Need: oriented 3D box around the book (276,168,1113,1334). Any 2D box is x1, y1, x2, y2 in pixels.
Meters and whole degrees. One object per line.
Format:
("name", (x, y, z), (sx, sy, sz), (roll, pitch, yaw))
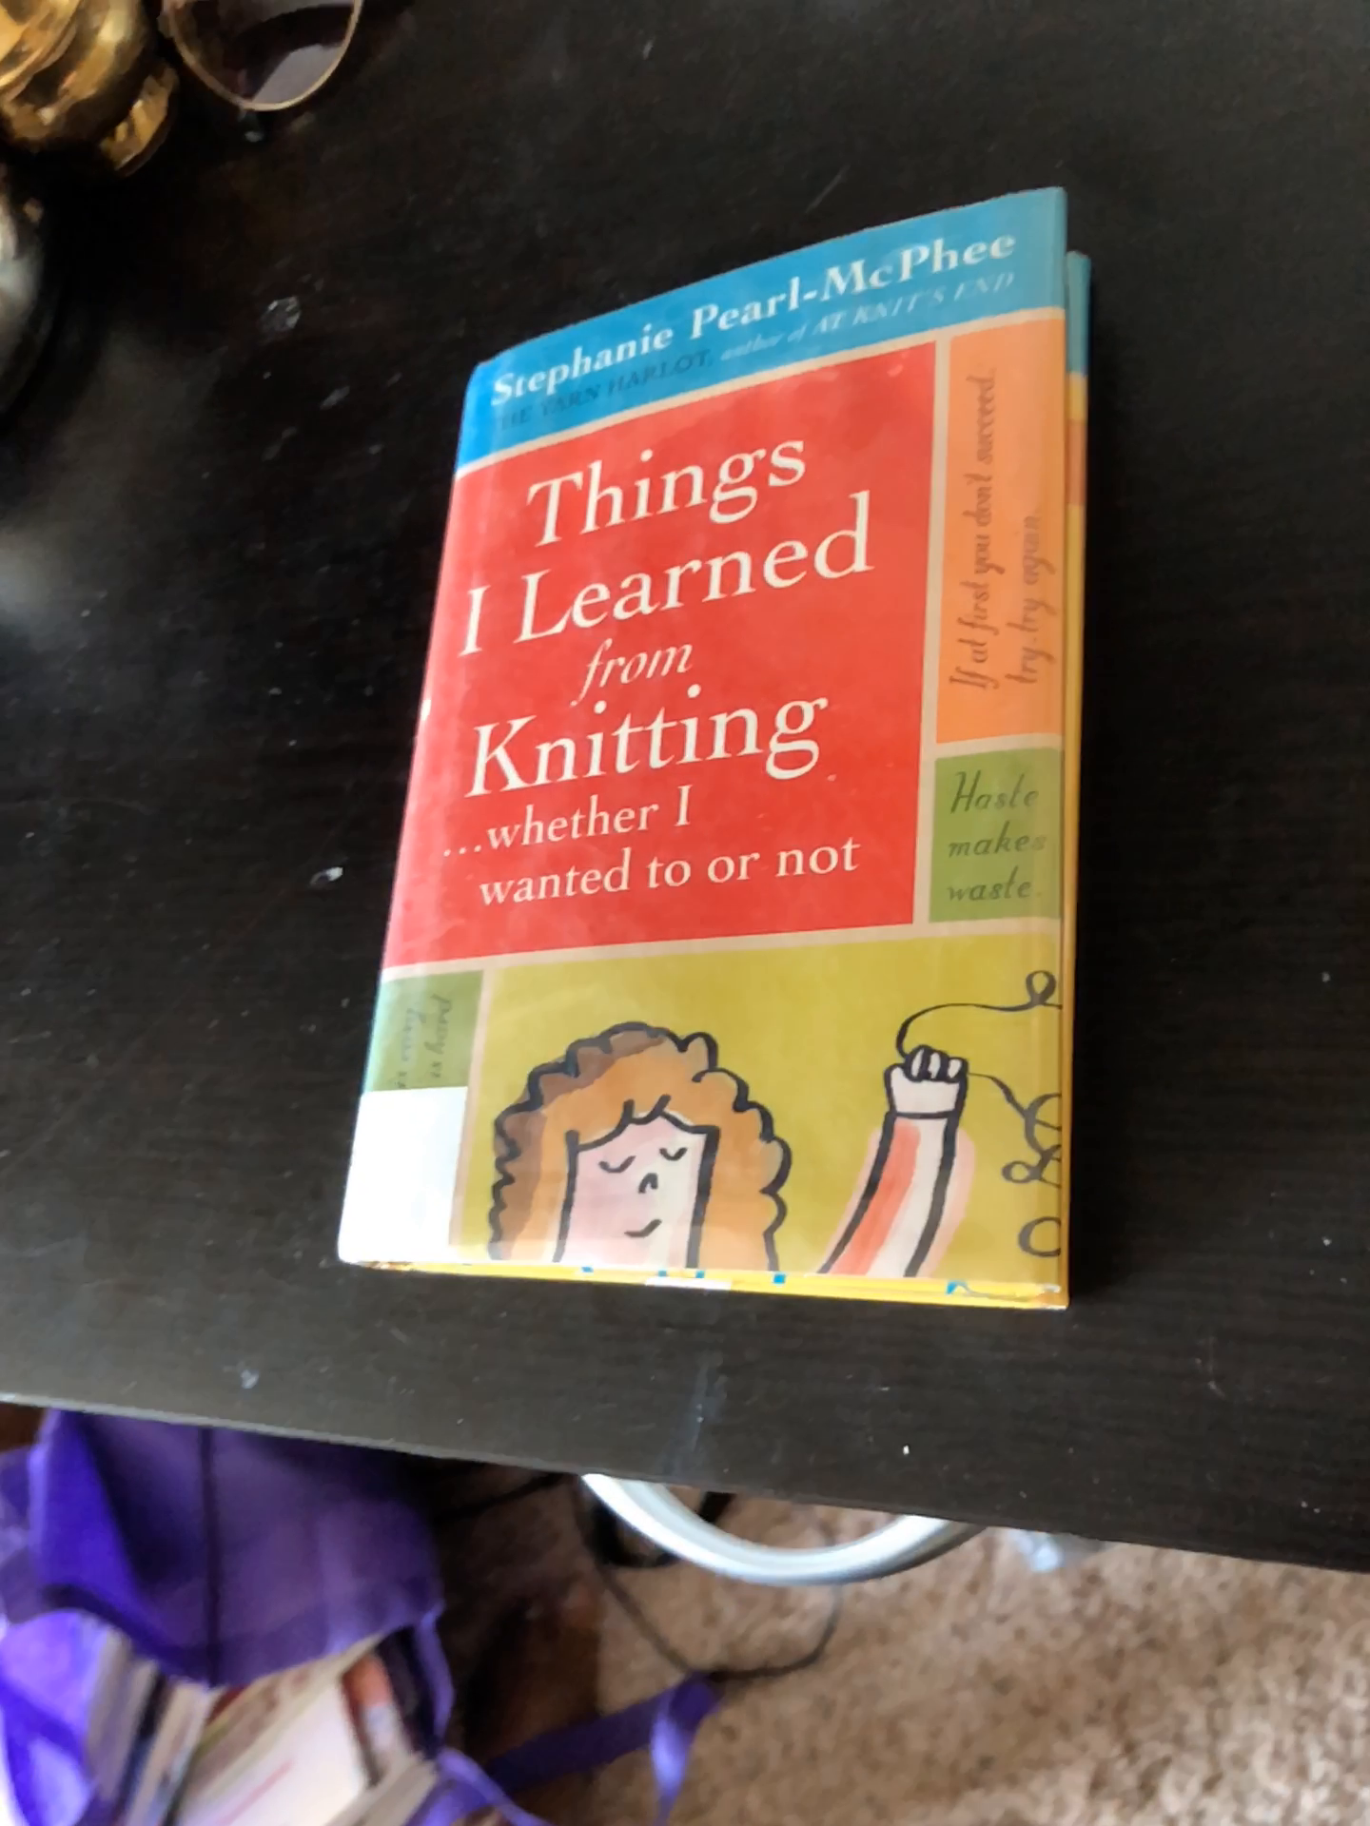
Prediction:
("book", (0.004, -0.025, 0.238), (0.118, 0.023, 0.166), (-4, 70, 27))
